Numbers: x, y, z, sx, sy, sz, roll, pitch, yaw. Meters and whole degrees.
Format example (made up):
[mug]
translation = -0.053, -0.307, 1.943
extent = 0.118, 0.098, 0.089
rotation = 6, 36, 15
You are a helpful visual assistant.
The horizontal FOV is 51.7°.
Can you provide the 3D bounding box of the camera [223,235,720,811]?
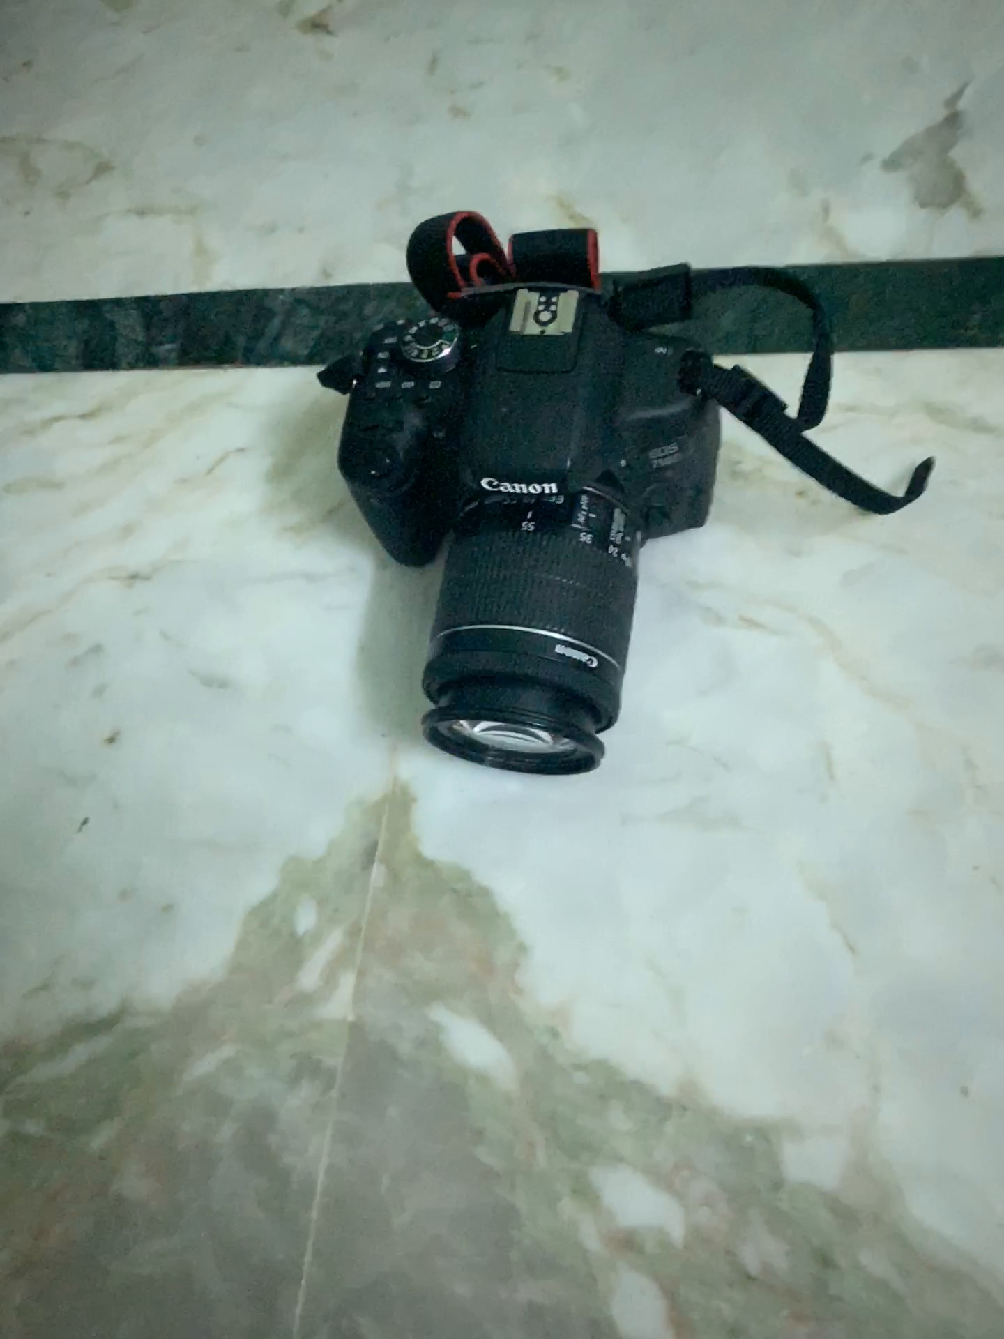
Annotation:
[camera]
translation = 0.004, -0.049, 0.358
extent = 0.128, 0.100, 0.160
rotation = 4, 67, 14
